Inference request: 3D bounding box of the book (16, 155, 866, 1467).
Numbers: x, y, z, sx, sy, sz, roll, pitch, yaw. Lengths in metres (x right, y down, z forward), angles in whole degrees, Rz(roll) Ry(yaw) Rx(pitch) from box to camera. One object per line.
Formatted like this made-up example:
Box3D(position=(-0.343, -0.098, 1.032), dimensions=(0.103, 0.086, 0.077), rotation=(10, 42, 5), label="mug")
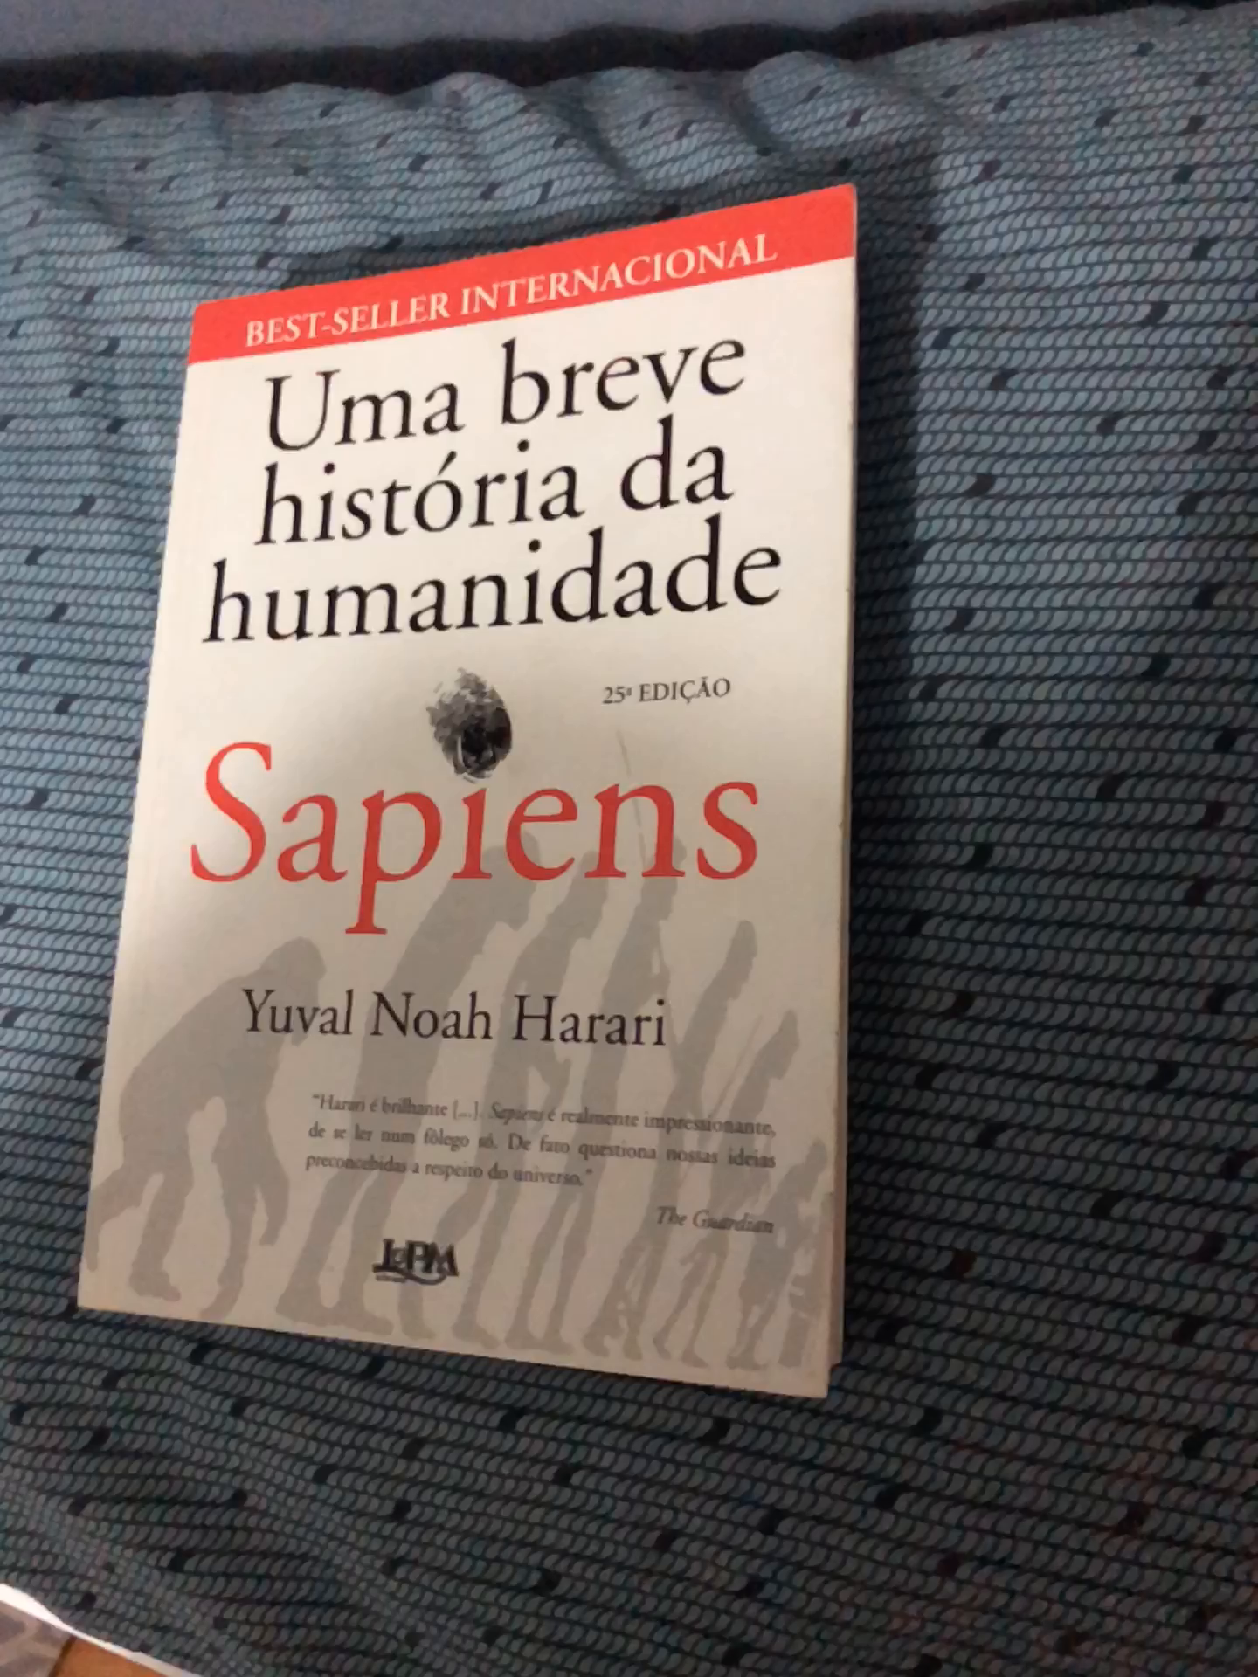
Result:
Box3D(position=(-0.034, -0.010, 0.295), dimensions=(0.160, 0.040, 0.240), rotation=(-1, 78, 19), label="book")
